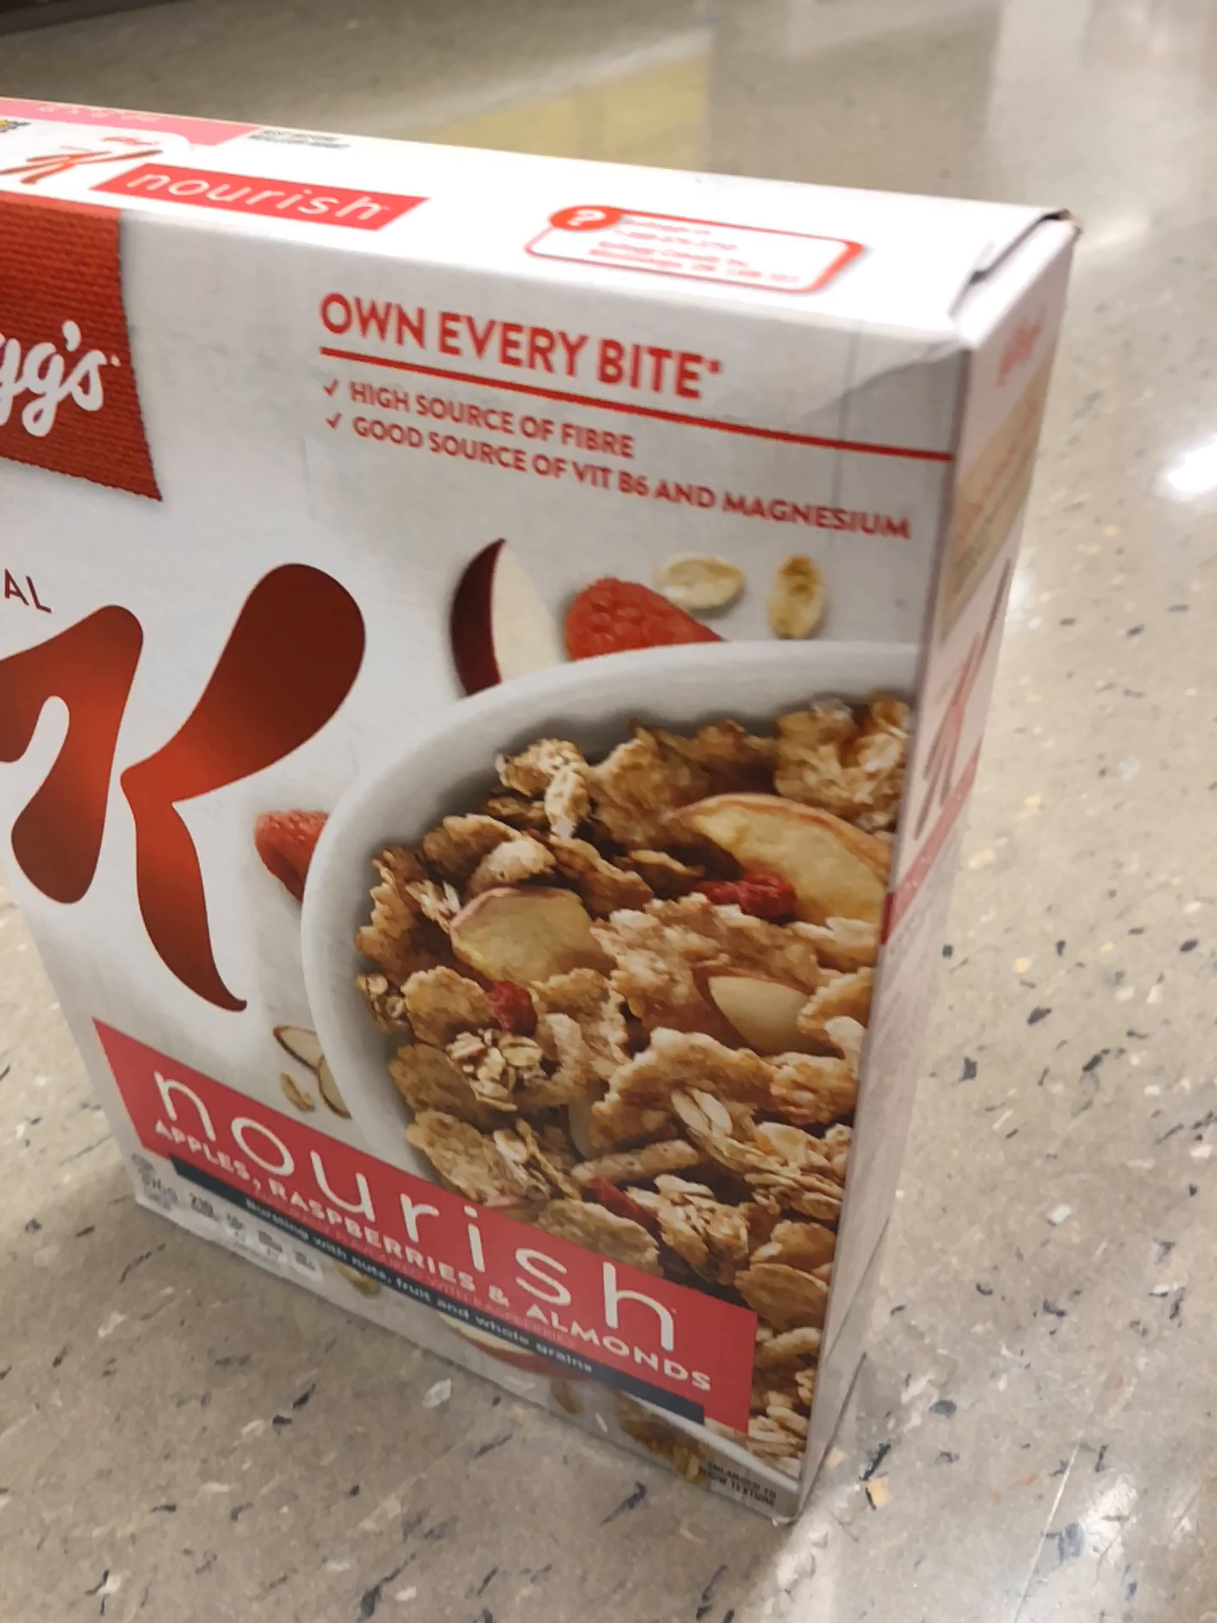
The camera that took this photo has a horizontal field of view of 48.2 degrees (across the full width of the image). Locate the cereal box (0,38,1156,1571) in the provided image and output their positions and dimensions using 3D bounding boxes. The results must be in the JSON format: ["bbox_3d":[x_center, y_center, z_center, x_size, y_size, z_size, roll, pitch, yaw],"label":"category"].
[{"bbox_3d":[-0.037,0.021,0.272,0.210,0.289,0.050,17,45,21],"label":"cereal box"}]
